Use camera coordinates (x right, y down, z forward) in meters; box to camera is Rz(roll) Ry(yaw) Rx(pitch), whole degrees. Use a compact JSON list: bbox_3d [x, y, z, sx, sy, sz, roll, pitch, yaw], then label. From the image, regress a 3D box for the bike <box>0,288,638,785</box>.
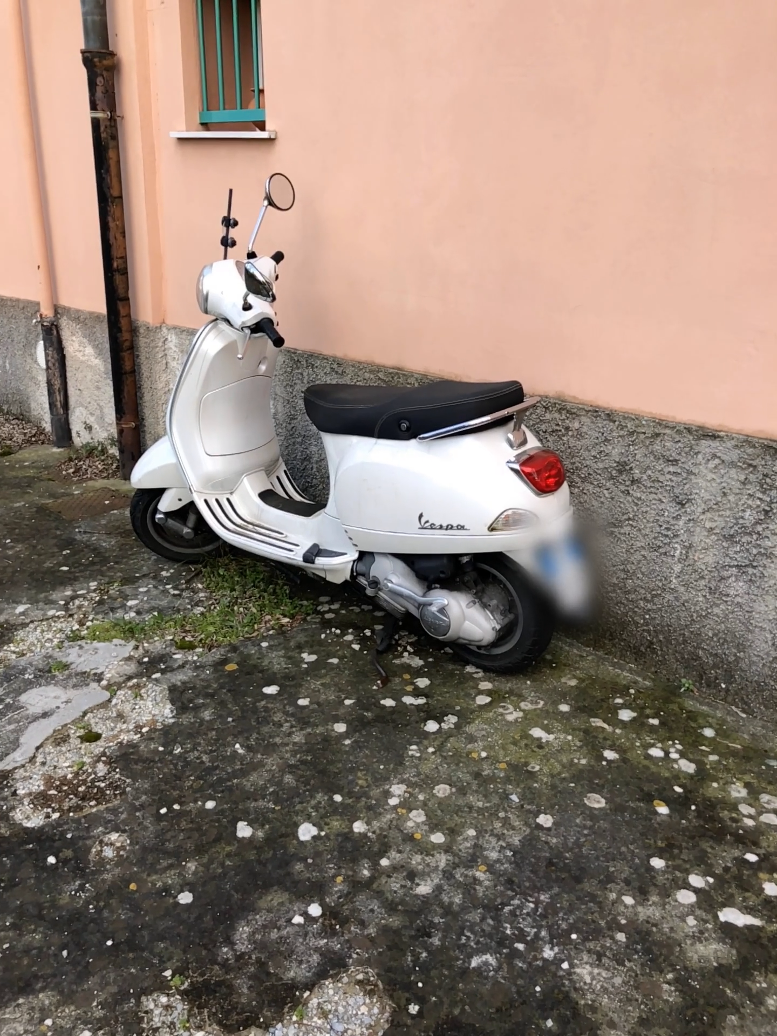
[{"bbox_3d":[-0.317,-0.084,2.484,1.658,1.086,0.646,12,22,31],"label":"bike"}]
